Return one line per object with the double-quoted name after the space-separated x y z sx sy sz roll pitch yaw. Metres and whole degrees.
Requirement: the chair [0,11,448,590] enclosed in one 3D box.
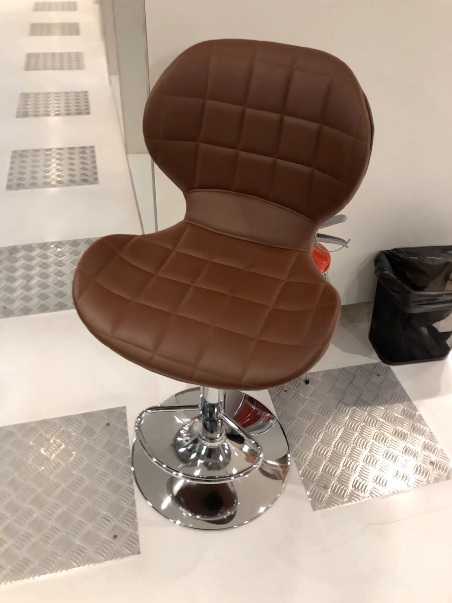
-0.026 0.030 0.989 0.541 0.923 0.493 20 44 18 "chair"
